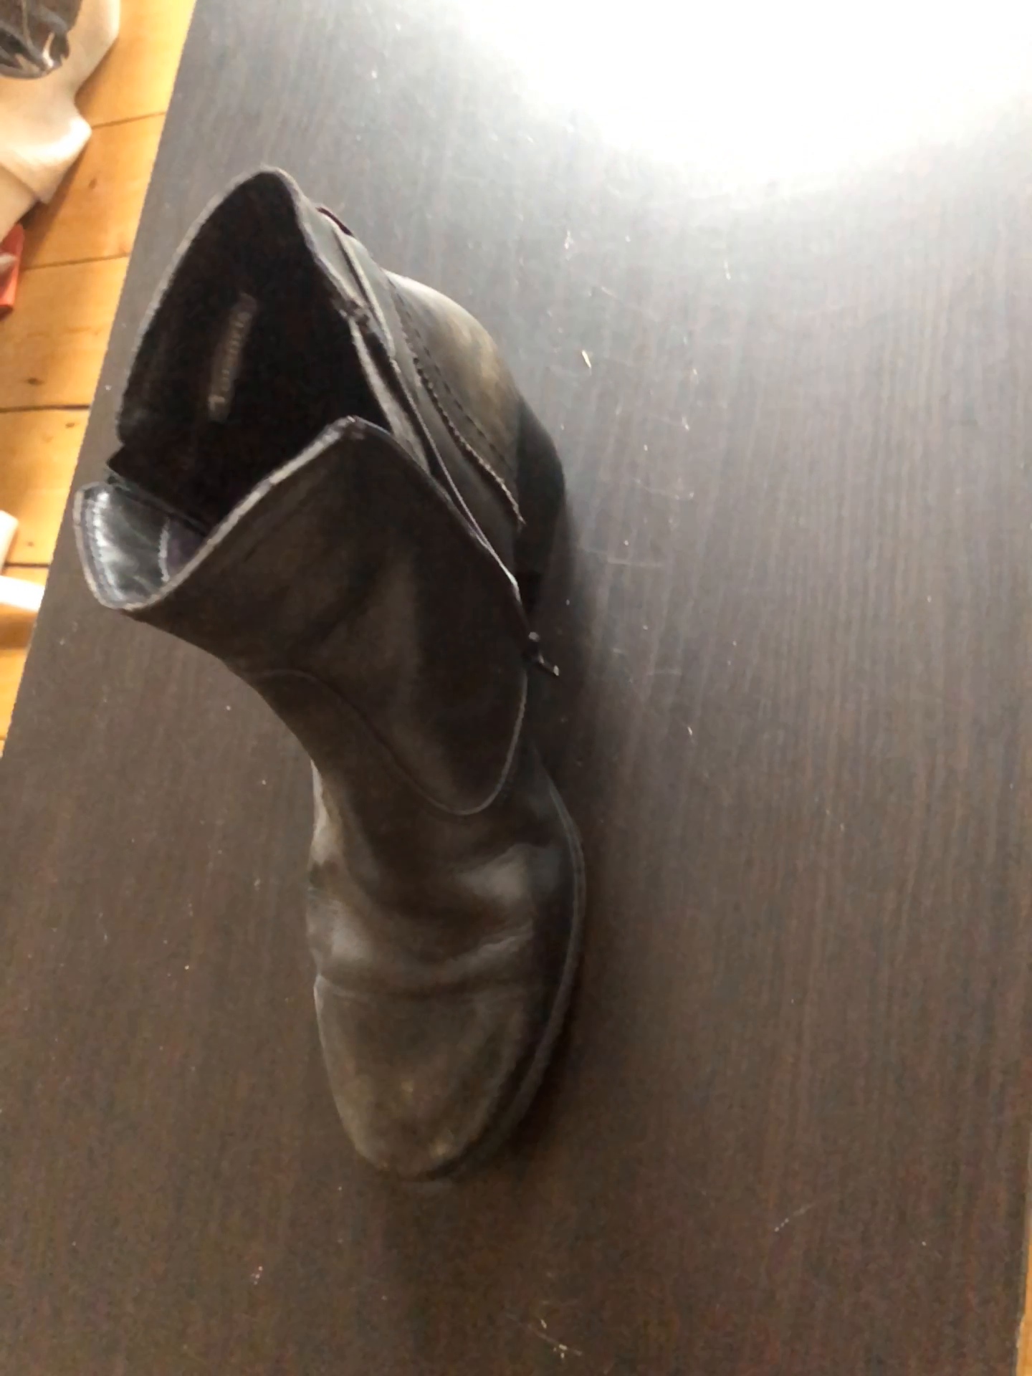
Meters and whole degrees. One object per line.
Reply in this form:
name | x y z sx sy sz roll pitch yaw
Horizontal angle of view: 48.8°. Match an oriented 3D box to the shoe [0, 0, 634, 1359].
shoe | -0.046 0.001 0.311 0.090 0.170 0.270 -2 75 26
